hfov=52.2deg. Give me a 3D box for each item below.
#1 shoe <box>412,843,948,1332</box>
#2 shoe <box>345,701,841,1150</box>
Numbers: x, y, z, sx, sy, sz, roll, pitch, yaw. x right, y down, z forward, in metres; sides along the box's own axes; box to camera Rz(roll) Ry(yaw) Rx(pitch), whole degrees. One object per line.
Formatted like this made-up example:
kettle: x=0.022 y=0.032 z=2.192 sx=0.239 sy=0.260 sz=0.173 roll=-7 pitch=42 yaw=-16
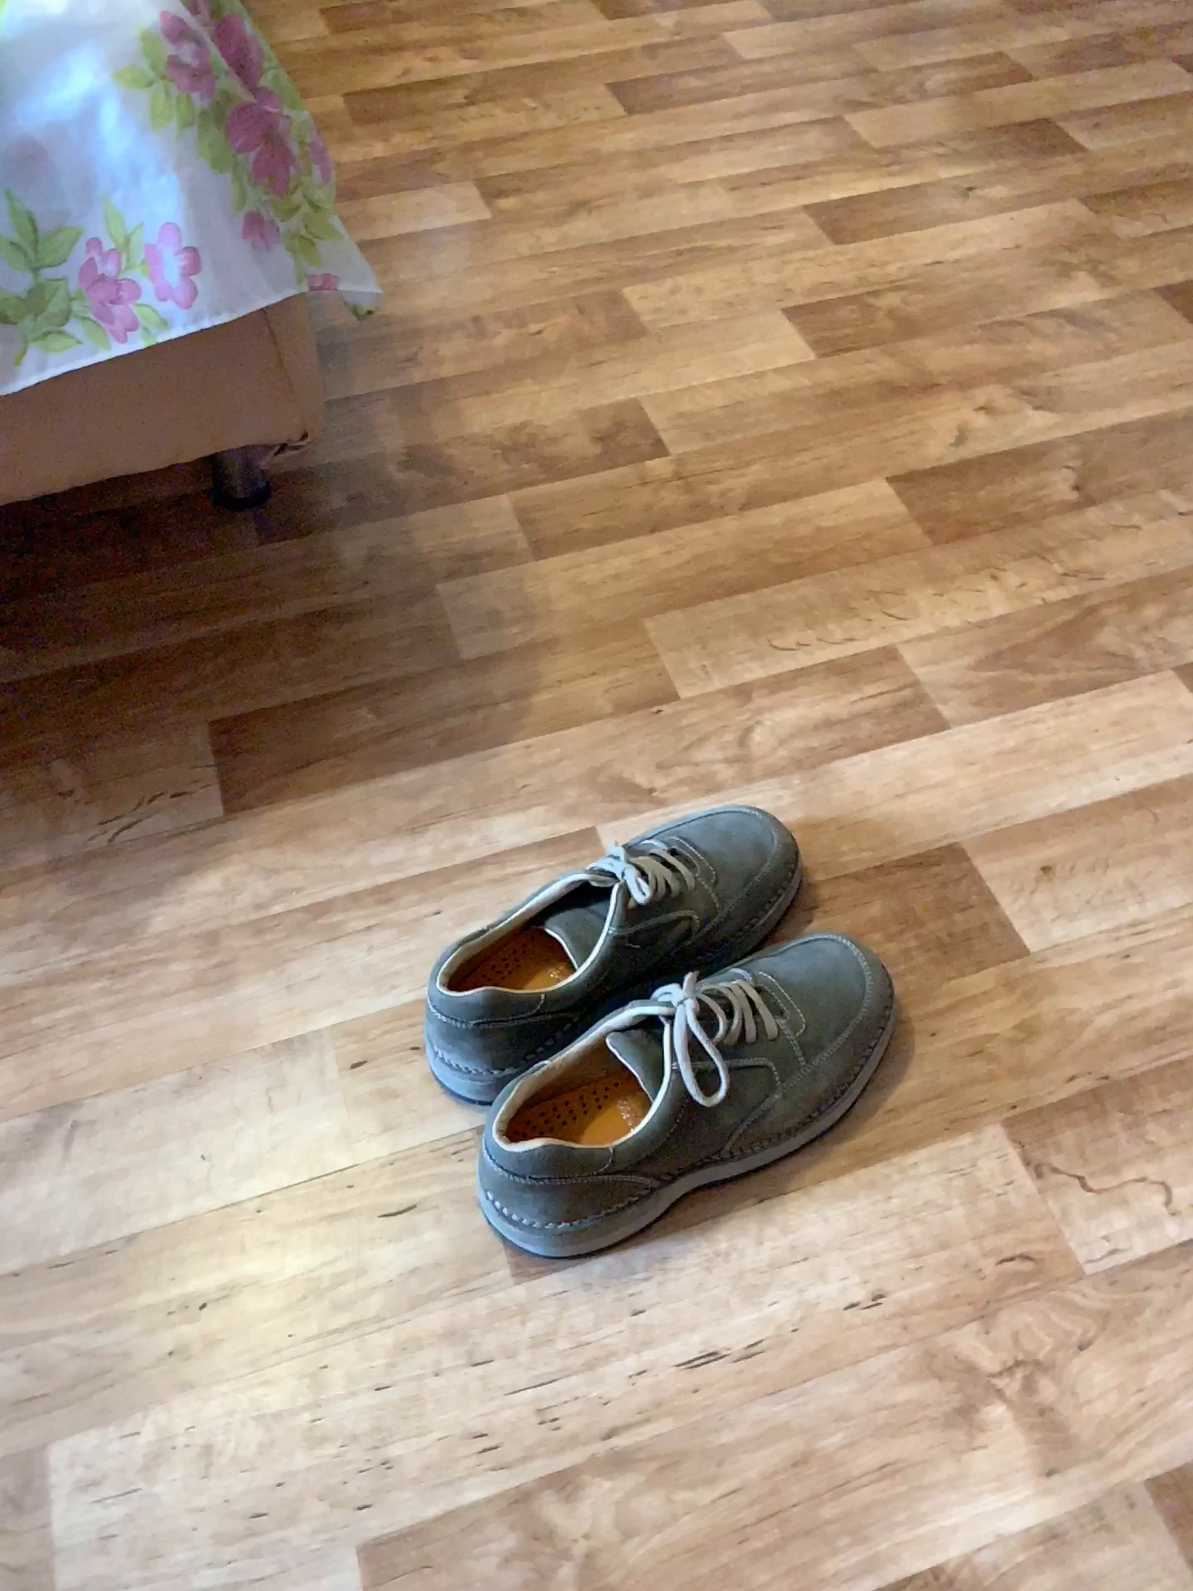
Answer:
shoe: x=0.053 y=0.172 z=0.741 sx=0.290 sy=0.120 sz=0.120 roll=-29 pitch=56 yaw=-19
shoe: x=0.003 y=0.077 z=0.790 sx=0.290 sy=0.110 sz=0.120 roll=-31 pitch=57 yaw=-20
